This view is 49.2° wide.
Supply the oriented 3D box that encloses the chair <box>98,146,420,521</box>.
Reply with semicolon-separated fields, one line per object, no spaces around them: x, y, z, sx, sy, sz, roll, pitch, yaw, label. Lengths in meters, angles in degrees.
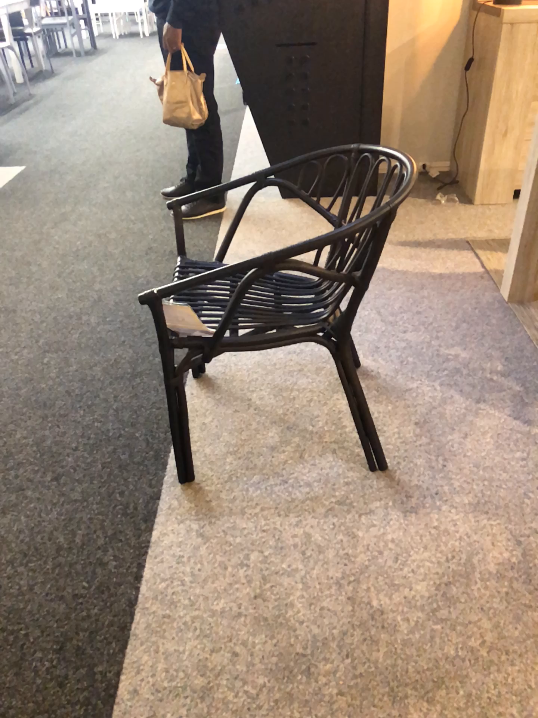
0.004;-0.079;1.433;0.560;0.736;0.533;1;31;4;chair
